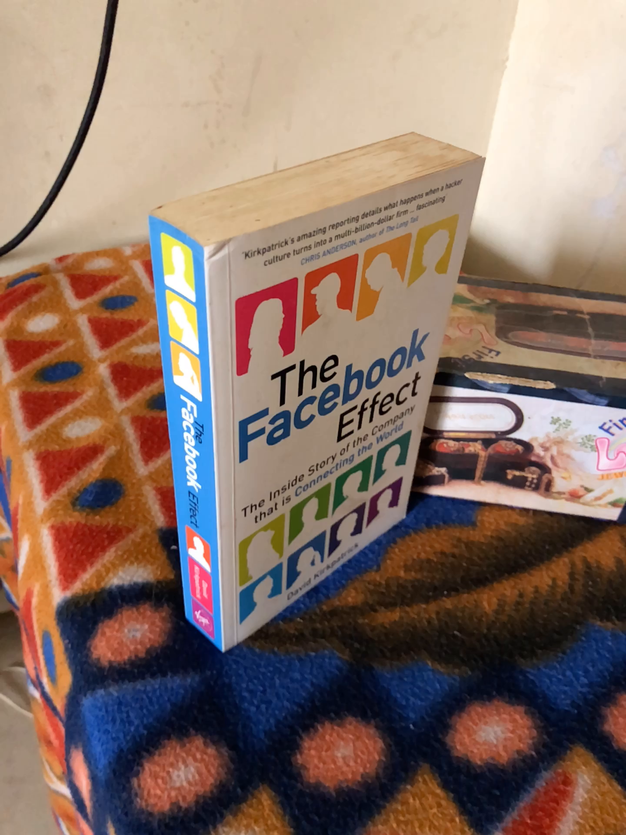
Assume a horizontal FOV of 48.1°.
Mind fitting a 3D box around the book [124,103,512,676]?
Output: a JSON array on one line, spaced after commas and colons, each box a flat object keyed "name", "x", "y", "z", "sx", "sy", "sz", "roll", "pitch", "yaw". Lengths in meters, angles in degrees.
[{"name": "book", "x": 0.005, "y": -0.008, "z": 0.310, "sx": 0.150, "sy": 0.219, "sz": 0.040, "roll": -28, "pitch": 47, "yaw": -35}]
